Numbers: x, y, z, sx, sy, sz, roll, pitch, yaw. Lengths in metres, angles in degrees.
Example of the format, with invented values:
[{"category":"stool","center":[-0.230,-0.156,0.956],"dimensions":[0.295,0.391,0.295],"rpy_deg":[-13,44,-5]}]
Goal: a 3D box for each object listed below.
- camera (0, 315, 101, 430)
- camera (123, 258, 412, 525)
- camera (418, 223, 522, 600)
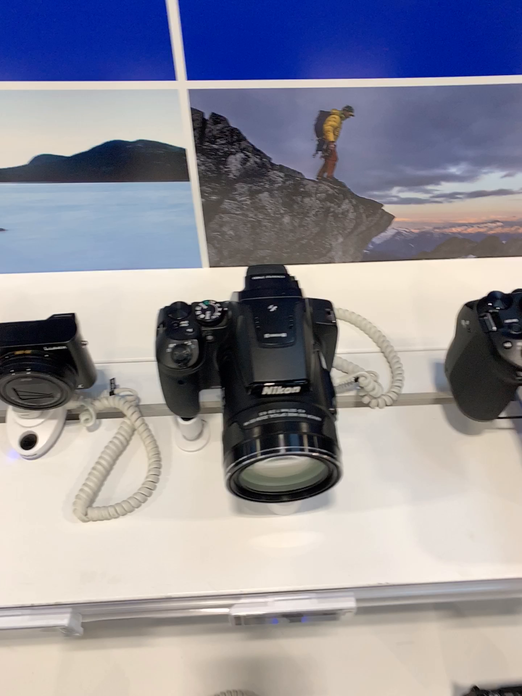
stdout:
[{"category":"camera","center":[-0.188,0.020,0.404],"dimensions":[0.110,0.070,0.050],"rpy_deg":[-3,53,-2]},{"category":"camera","center":[0.000,0.029,0.381],"dimensions":[0.160,0.099,0.151],"rpy_deg":[-3,53,-2]},{"category":"camera","center":[0.228,0.034,0.367],"dimensions":[0.160,0.109,0.221],"rpy_deg":[-4,53,-2]}]
